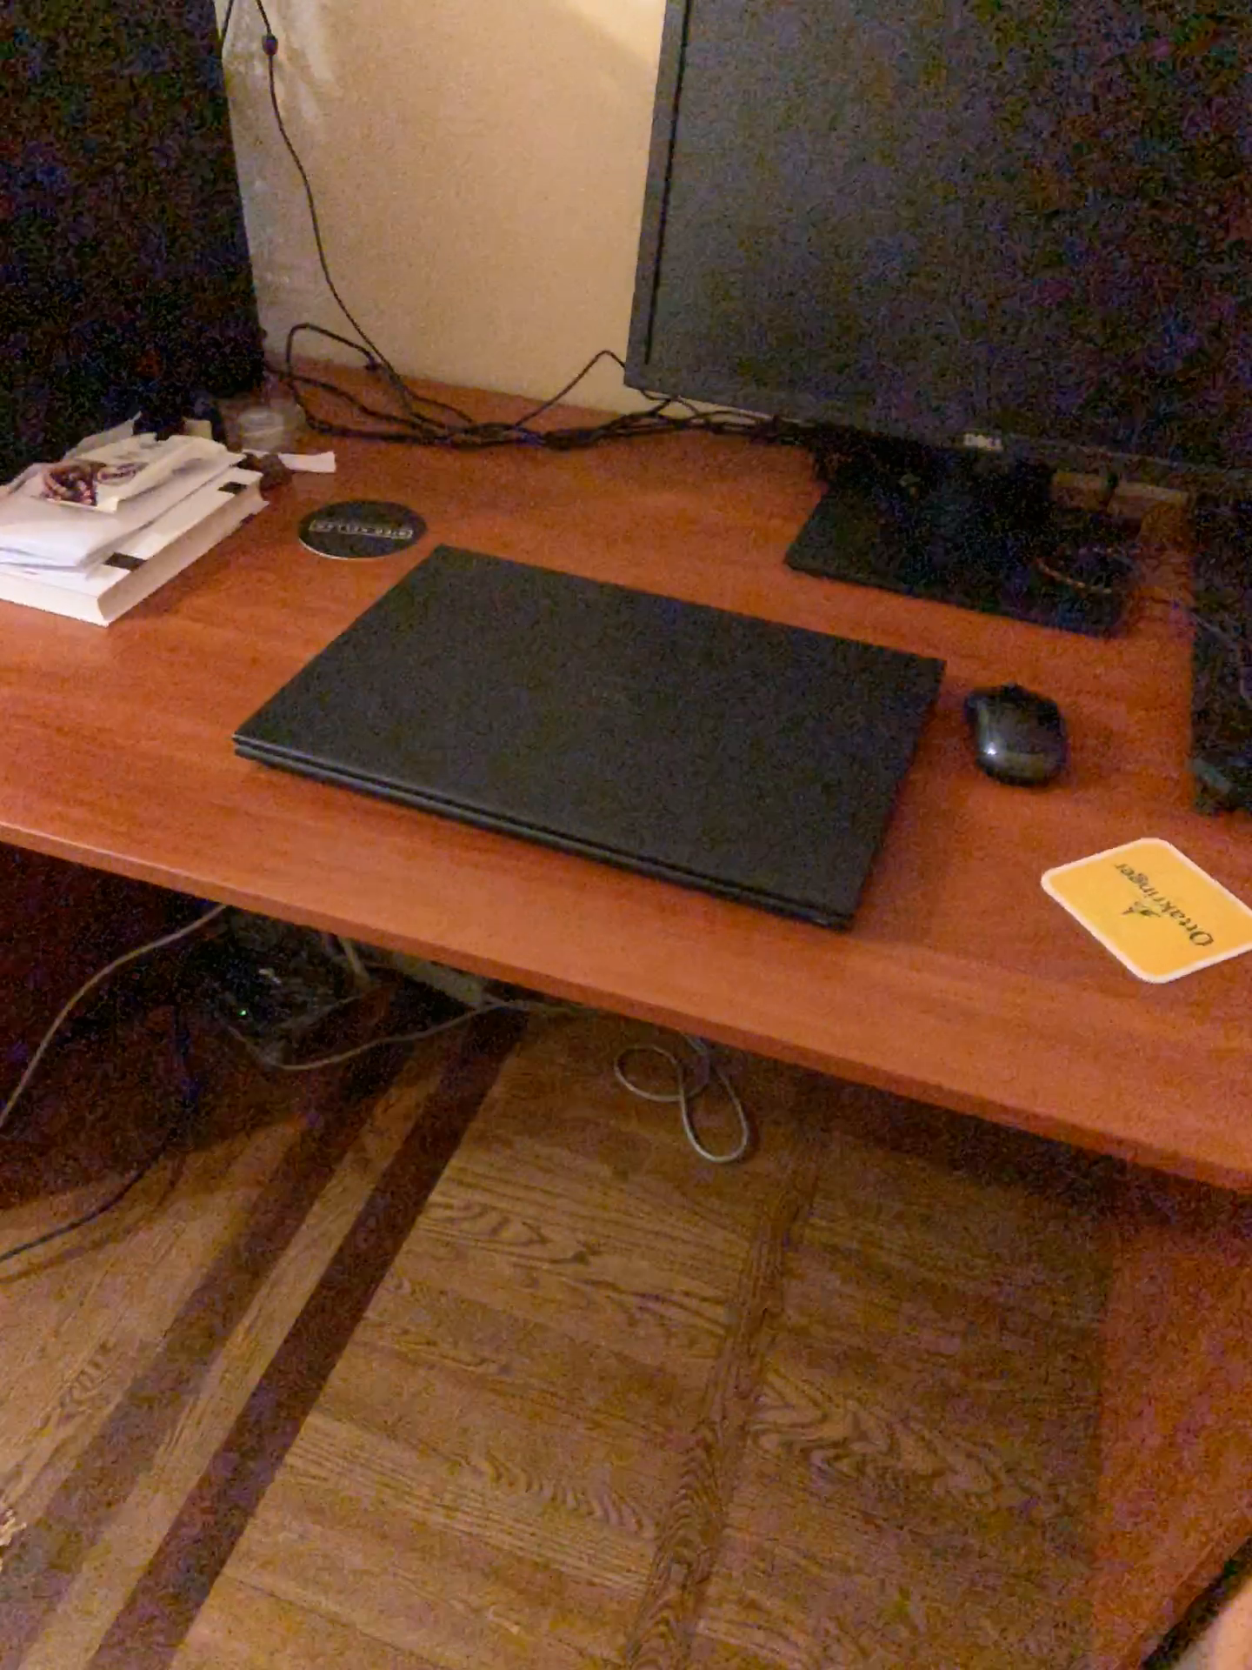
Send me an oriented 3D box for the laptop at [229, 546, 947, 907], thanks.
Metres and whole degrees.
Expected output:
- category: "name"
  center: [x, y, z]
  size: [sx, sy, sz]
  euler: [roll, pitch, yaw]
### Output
- category: "laptop"
  center: [-0.009, -0.083, 0.750]
  size: [0.351, 0.001, 0.248]
  euler: [16, 41, 14]
